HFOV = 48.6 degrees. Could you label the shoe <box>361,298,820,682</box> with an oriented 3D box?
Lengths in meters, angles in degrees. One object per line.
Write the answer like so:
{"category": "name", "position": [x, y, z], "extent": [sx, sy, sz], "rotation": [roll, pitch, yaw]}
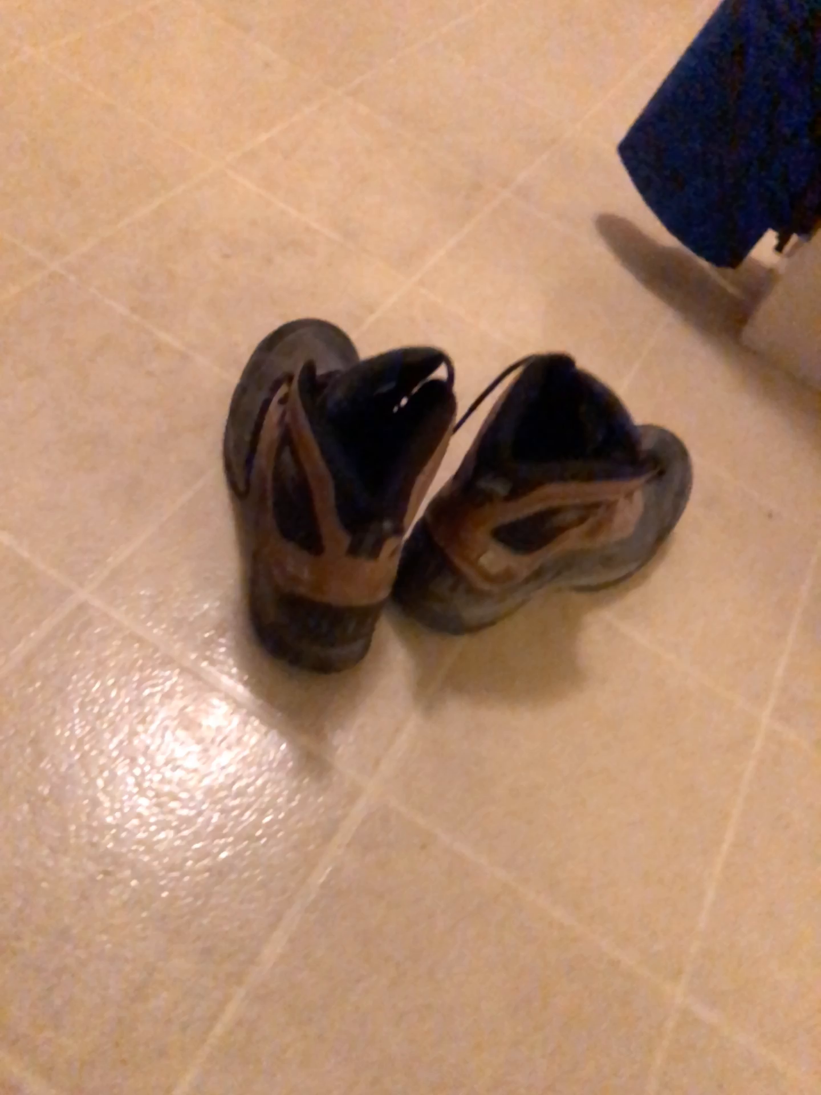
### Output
{"category": "shoe", "position": [0.136, -0.047, 0.661], "extent": [0.293, 0.185, 0.113], "rotation": [-21, 65, -31]}

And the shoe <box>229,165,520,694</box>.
{"category": "shoe", "position": [-0.046, -0.079, 0.619], "extent": [0.122, 0.185, 0.301], "rotation": [3, 55, -18]}
